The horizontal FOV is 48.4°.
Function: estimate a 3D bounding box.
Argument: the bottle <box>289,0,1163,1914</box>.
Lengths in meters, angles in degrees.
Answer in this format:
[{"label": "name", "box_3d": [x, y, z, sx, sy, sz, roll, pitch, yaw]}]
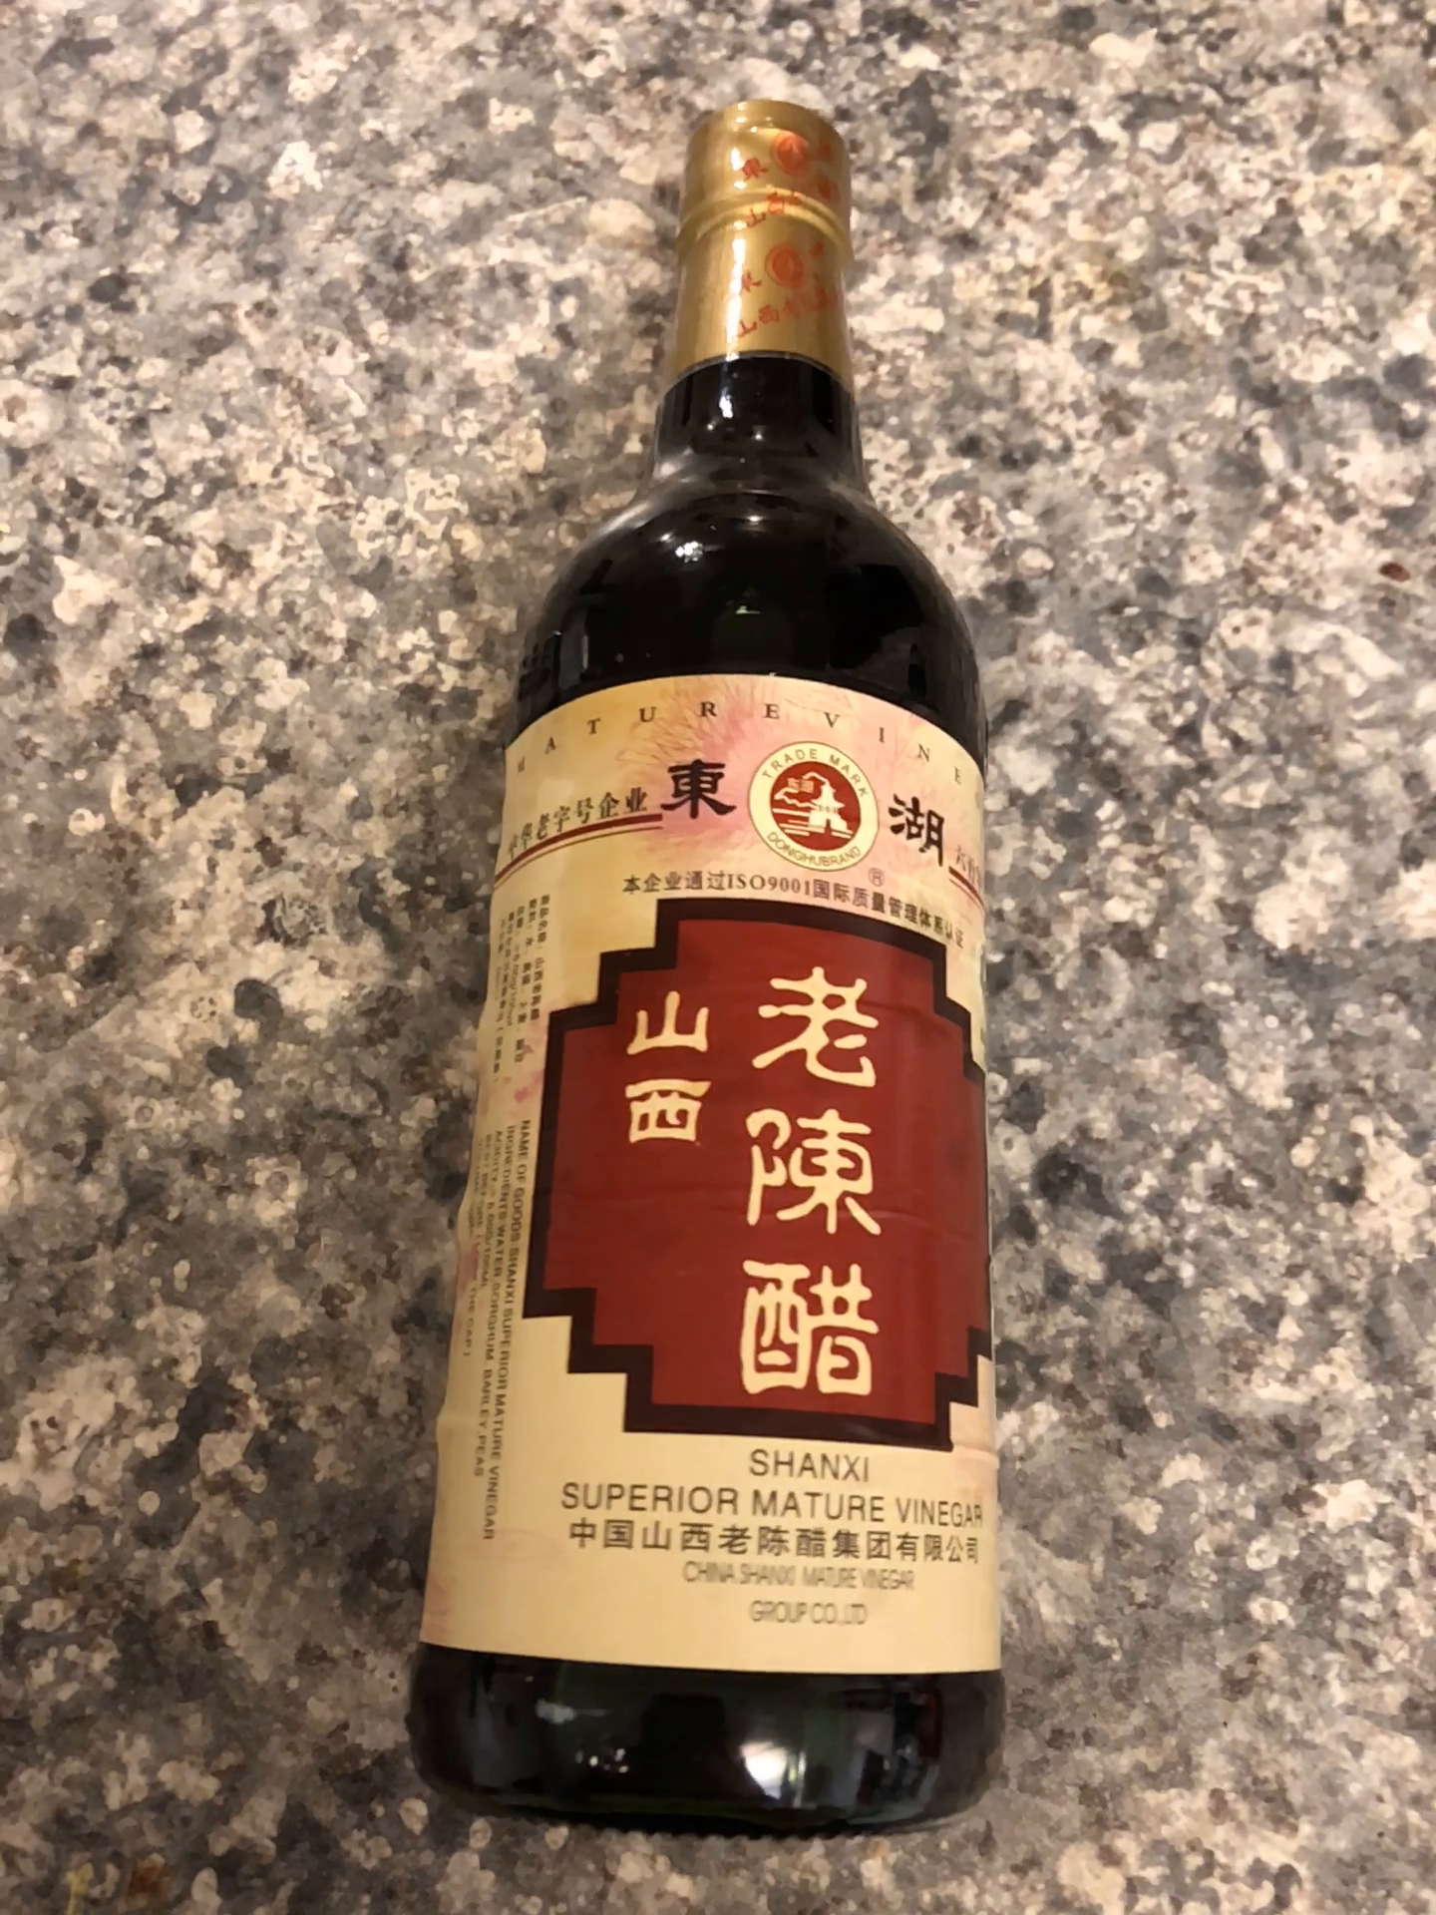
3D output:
[{"label": "bottle", "box_3d": [0.005, -0.022, 0.204, 0.070, 0.070, 0.241, 5, 69, -3]}]
